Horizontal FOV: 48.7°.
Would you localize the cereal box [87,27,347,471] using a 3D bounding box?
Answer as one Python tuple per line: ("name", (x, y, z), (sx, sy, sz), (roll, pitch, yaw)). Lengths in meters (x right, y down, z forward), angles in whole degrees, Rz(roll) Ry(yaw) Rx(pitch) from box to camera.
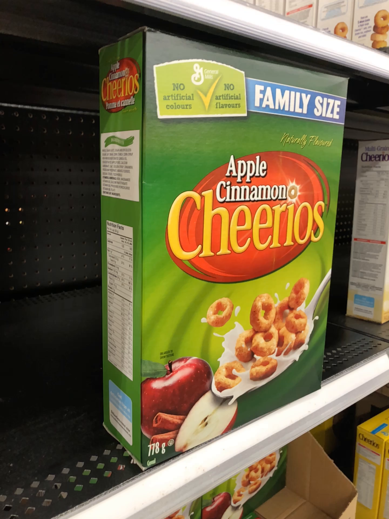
("cereal box", (0.030, -0.012, 0.418), (0.240, 0.329, 0.080), (-8, 14, -37))
